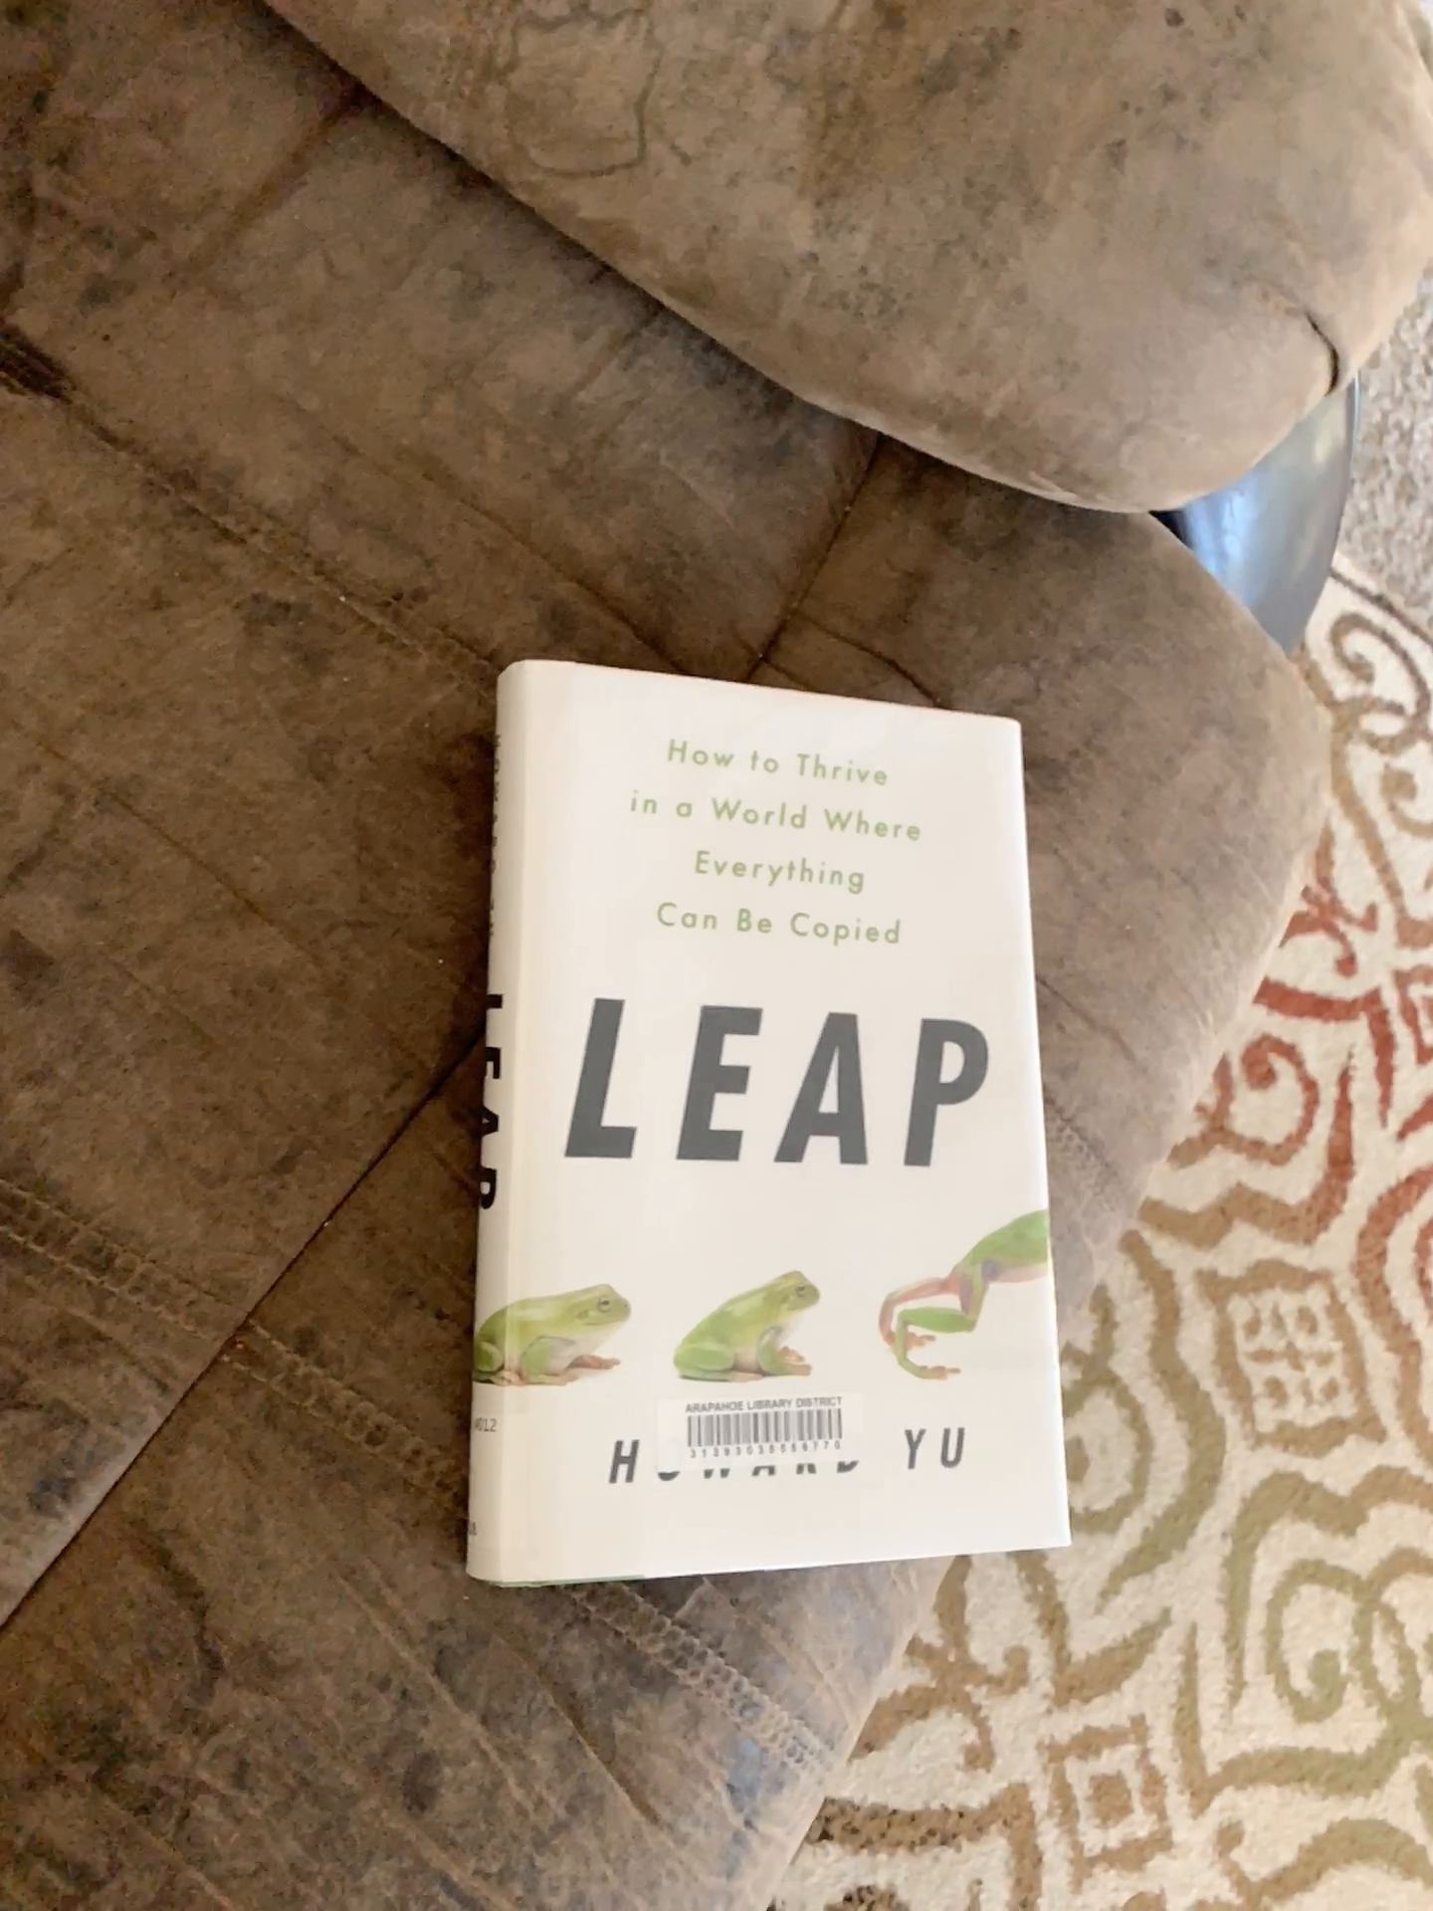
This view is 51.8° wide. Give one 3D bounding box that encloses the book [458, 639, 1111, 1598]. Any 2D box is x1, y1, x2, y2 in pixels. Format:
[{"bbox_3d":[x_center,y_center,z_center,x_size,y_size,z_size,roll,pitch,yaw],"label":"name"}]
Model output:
[{"bbox_3d":[0.014,0.038,0.401,0.160,0.040,0.235,2,75,-16],"label":"book"}]
